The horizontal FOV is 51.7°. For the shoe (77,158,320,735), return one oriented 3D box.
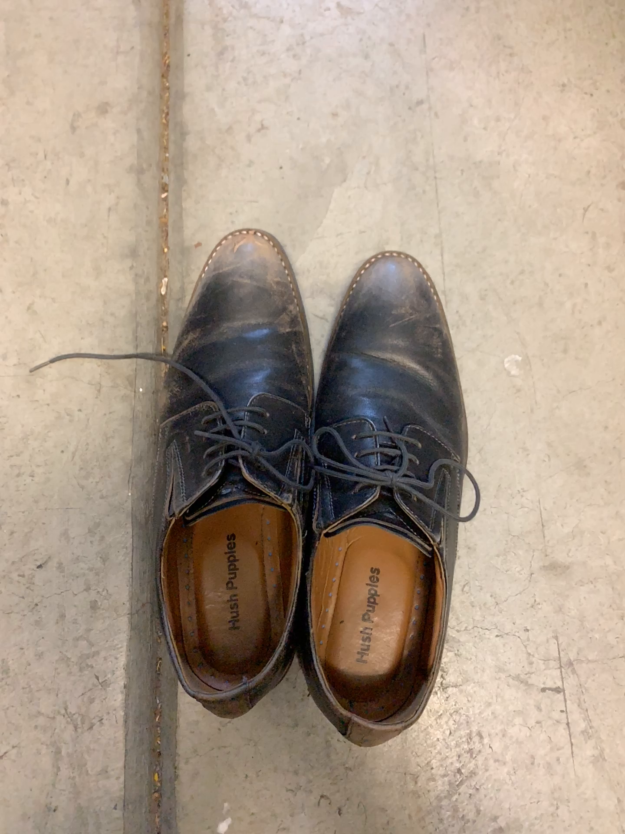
[{"bbox_3d":[-0.056,0.013,0.408,0.110,0.120,0.310,2,79,1],"label":"shoe"}]

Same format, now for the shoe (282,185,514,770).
[{"bbox_3d":[0.051,0.029,0.402,0.110,0.120,0.304,4,79,1],"label":"shoe"}]
